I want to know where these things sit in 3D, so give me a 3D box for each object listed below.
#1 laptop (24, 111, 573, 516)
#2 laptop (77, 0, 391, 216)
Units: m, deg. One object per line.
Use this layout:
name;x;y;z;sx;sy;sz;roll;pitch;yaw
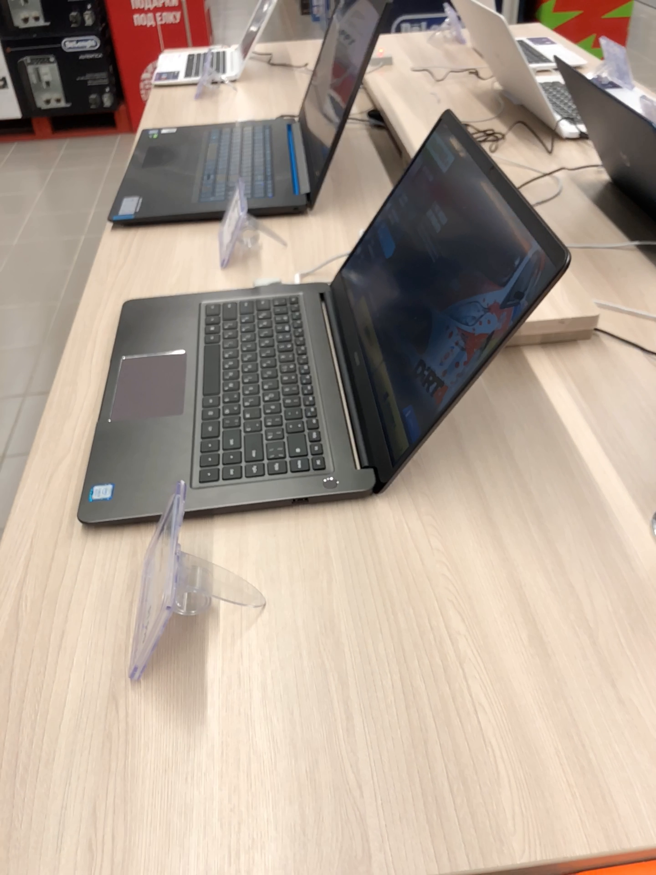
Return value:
laptop;-0.030;-0.137;0.662;0.357;0.180;0.346;-7;39;-3
laptop;-0.123;-0.540;1.104;0.378;0.242;0.394;-4;39;-2
